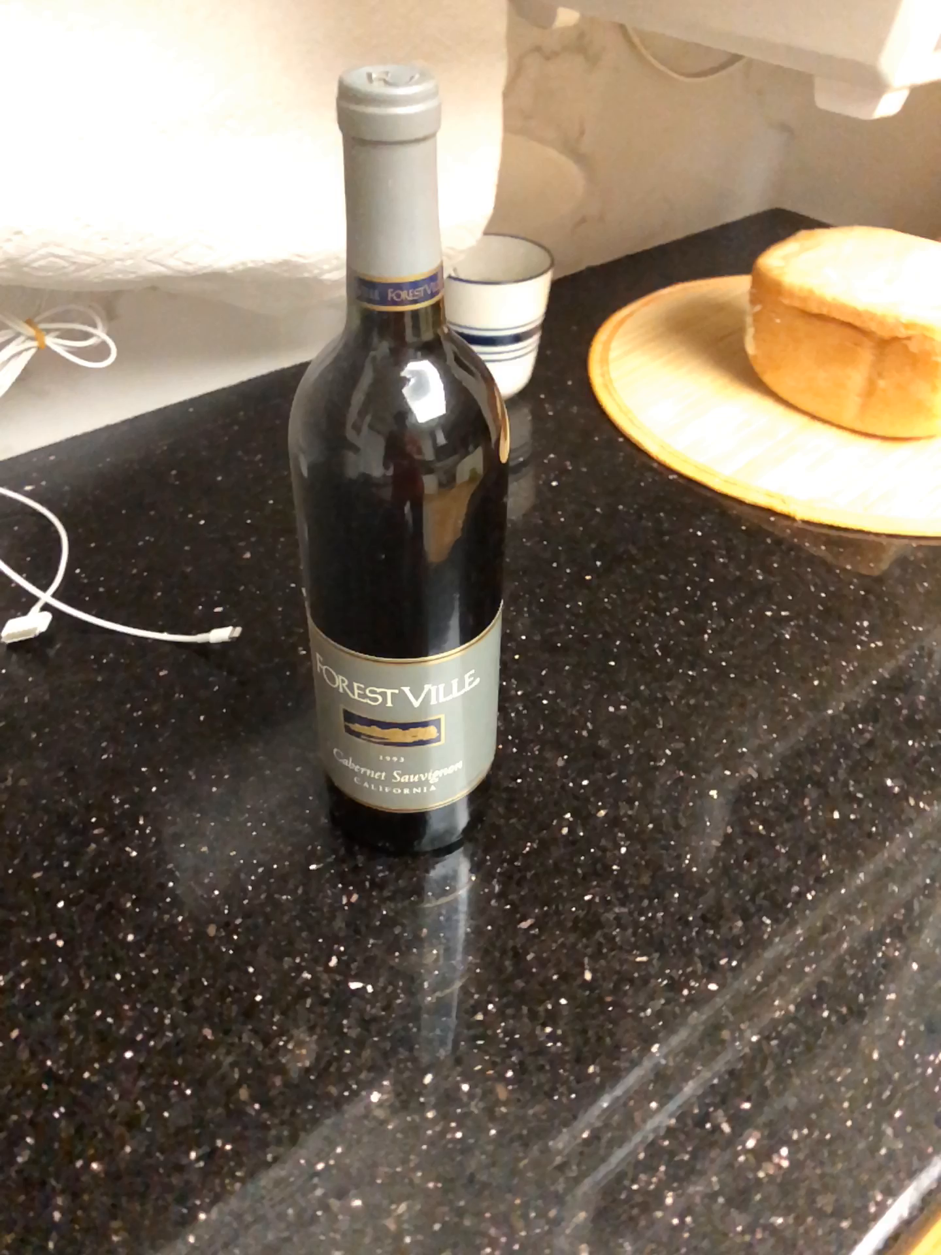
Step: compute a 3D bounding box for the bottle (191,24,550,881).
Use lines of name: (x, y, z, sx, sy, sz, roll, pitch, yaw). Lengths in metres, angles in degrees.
bottle: (-0.025, -0.039, 0.379, 0.080, 0.298, 0.091, 6, 41, 5)
